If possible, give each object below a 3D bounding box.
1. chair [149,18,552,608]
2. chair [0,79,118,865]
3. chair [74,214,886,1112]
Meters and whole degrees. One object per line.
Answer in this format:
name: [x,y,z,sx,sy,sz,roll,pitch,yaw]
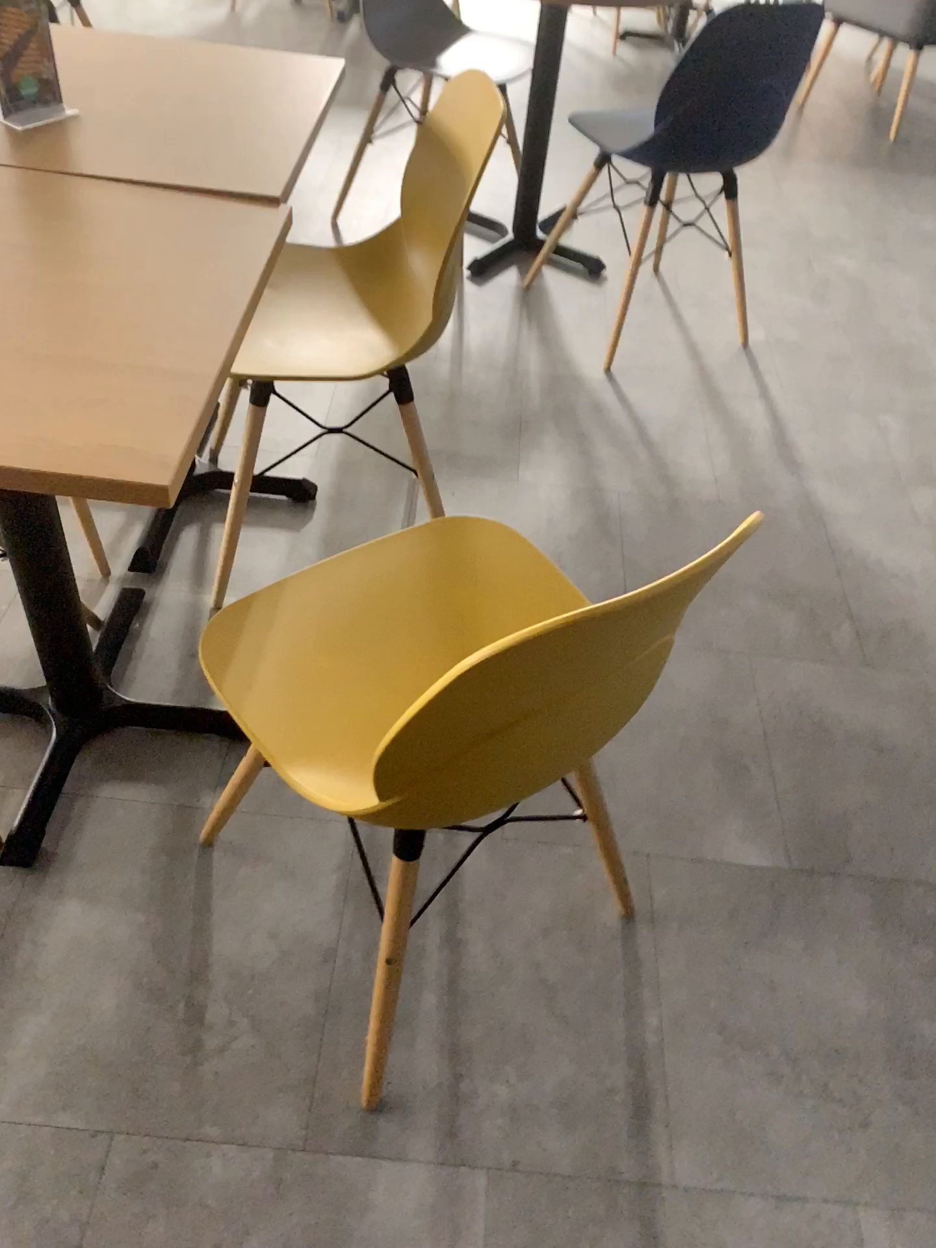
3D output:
chair: [-0.213,-0.493,1.606,0.492,0.776,0.501,-4,47,-11]
chair: [-0.815,-0.139,1.172,0.492,0.776,0.501,4,46,-3]
chair: [-0.026,0.059,1.107,0.519,0.786,0.494,-27,55,-29]
